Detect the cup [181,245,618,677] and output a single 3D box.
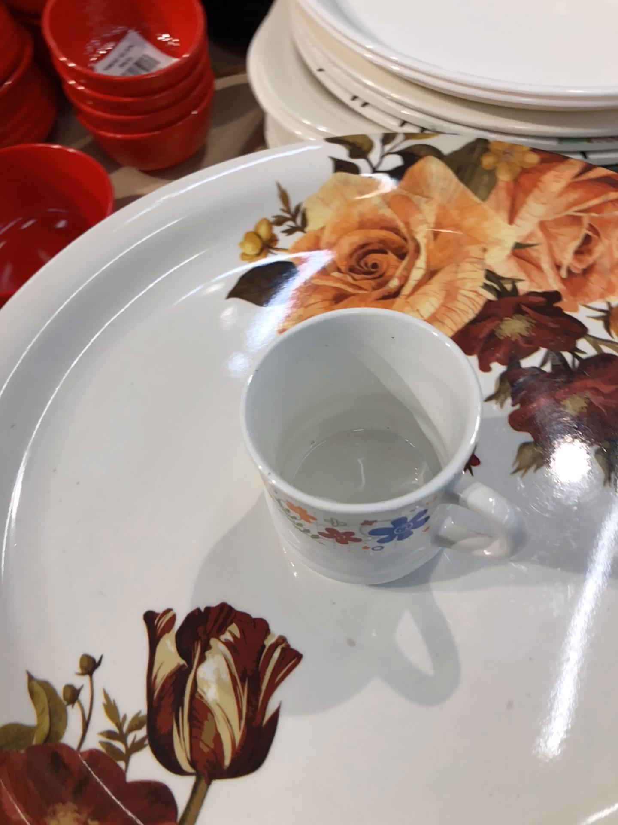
[{"bbox_3d":[0.029,0.016,0.219,0.100,0.080,0.070,30,67,21],"label":"cup"}]
